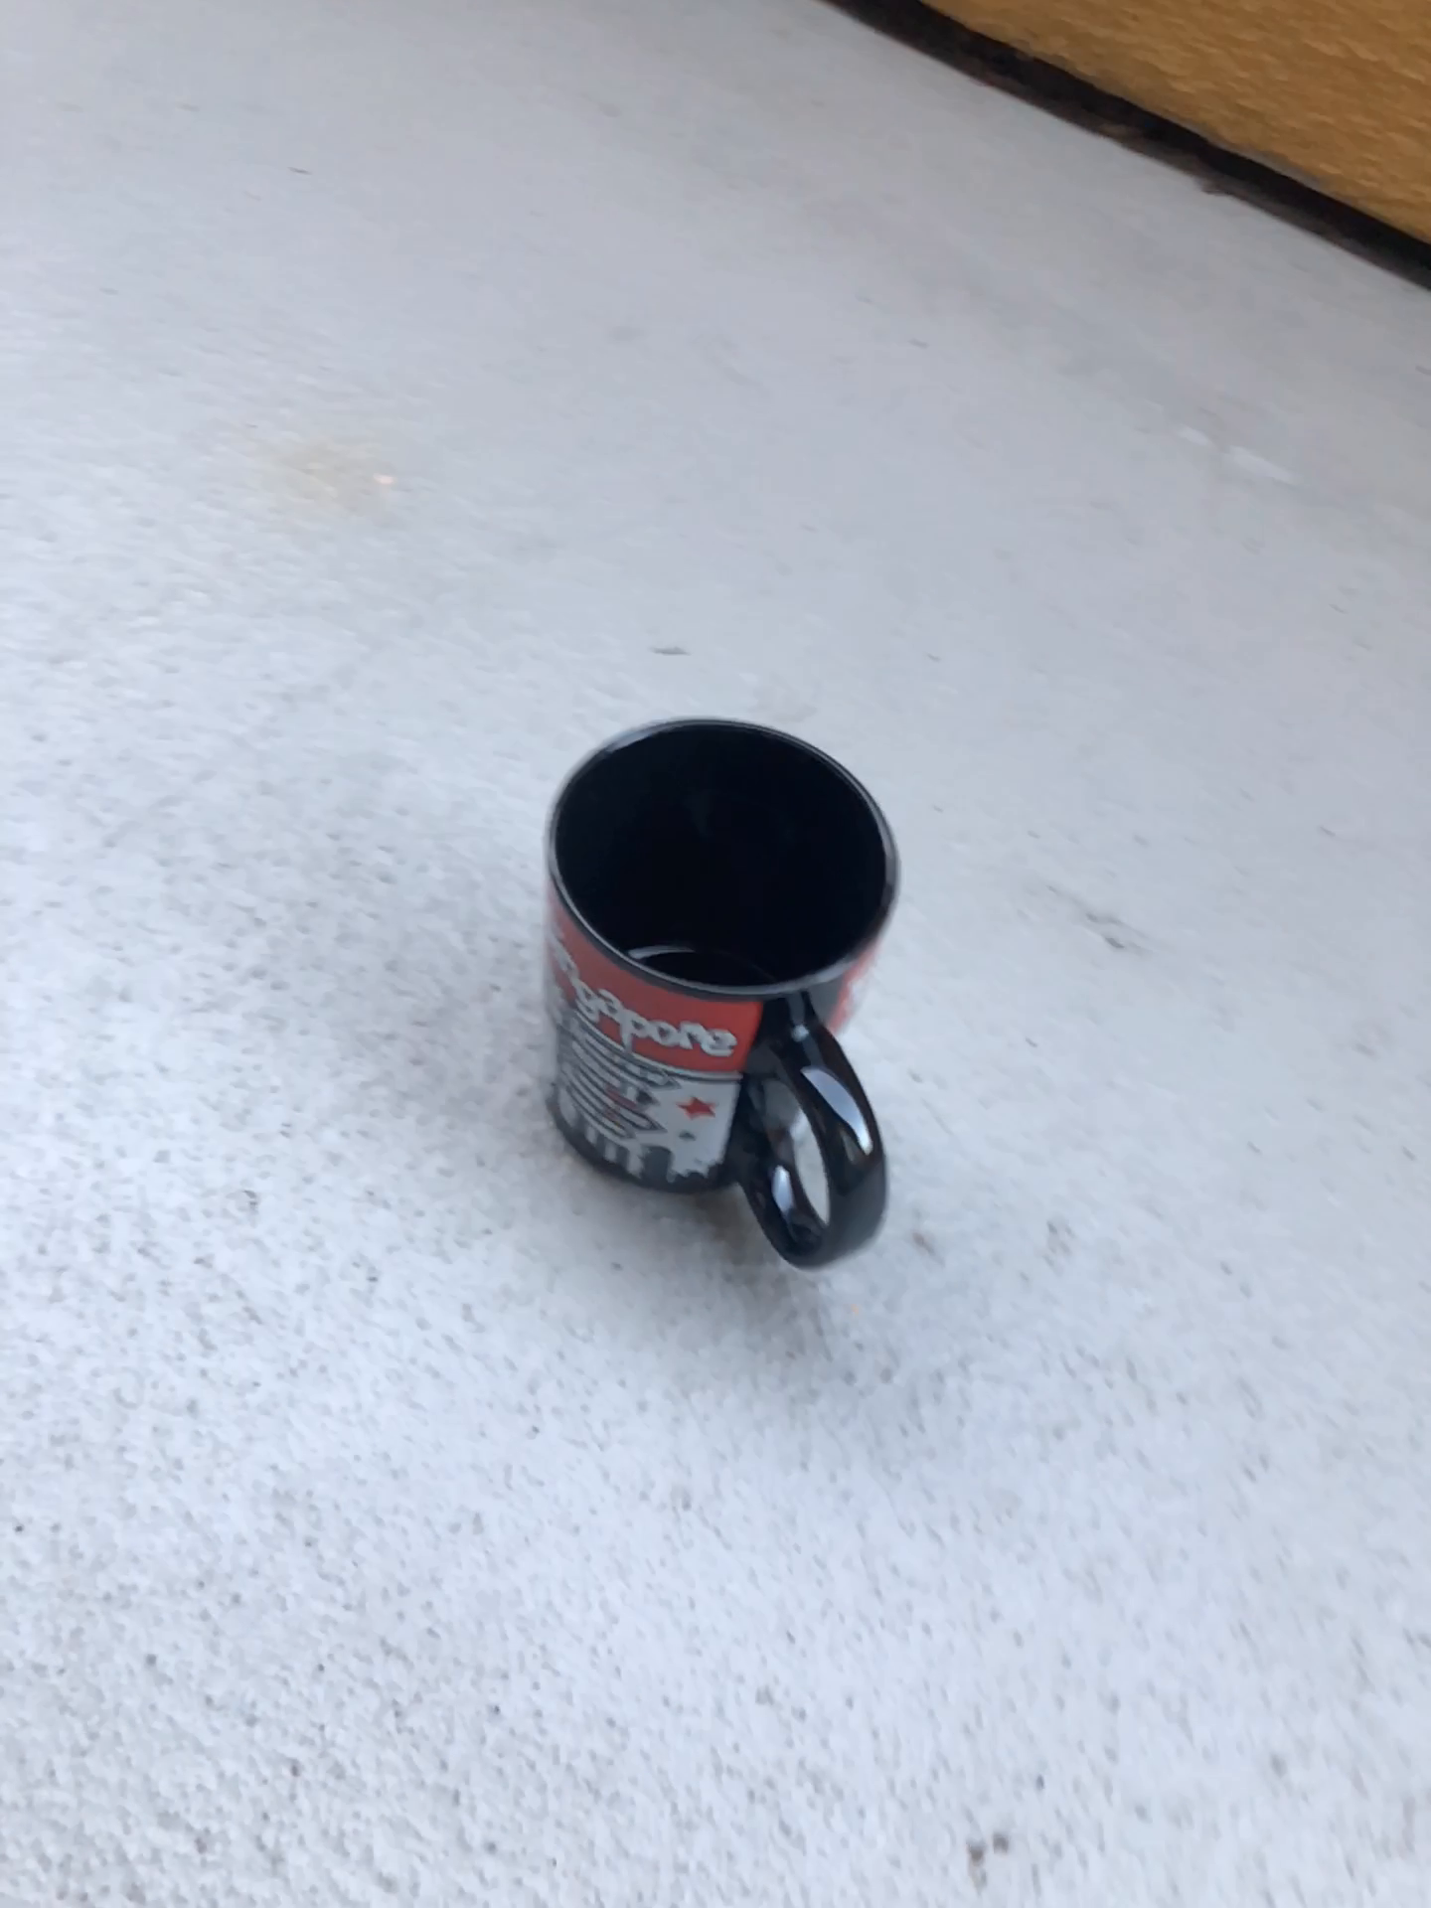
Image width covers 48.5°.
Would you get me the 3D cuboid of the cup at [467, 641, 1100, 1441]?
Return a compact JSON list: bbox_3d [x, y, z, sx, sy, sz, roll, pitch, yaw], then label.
[{"bbox_3d":[0.004,0.020,0.370,0.080,0.110,0.130,-19,59,-20],"label":"cup"}]
